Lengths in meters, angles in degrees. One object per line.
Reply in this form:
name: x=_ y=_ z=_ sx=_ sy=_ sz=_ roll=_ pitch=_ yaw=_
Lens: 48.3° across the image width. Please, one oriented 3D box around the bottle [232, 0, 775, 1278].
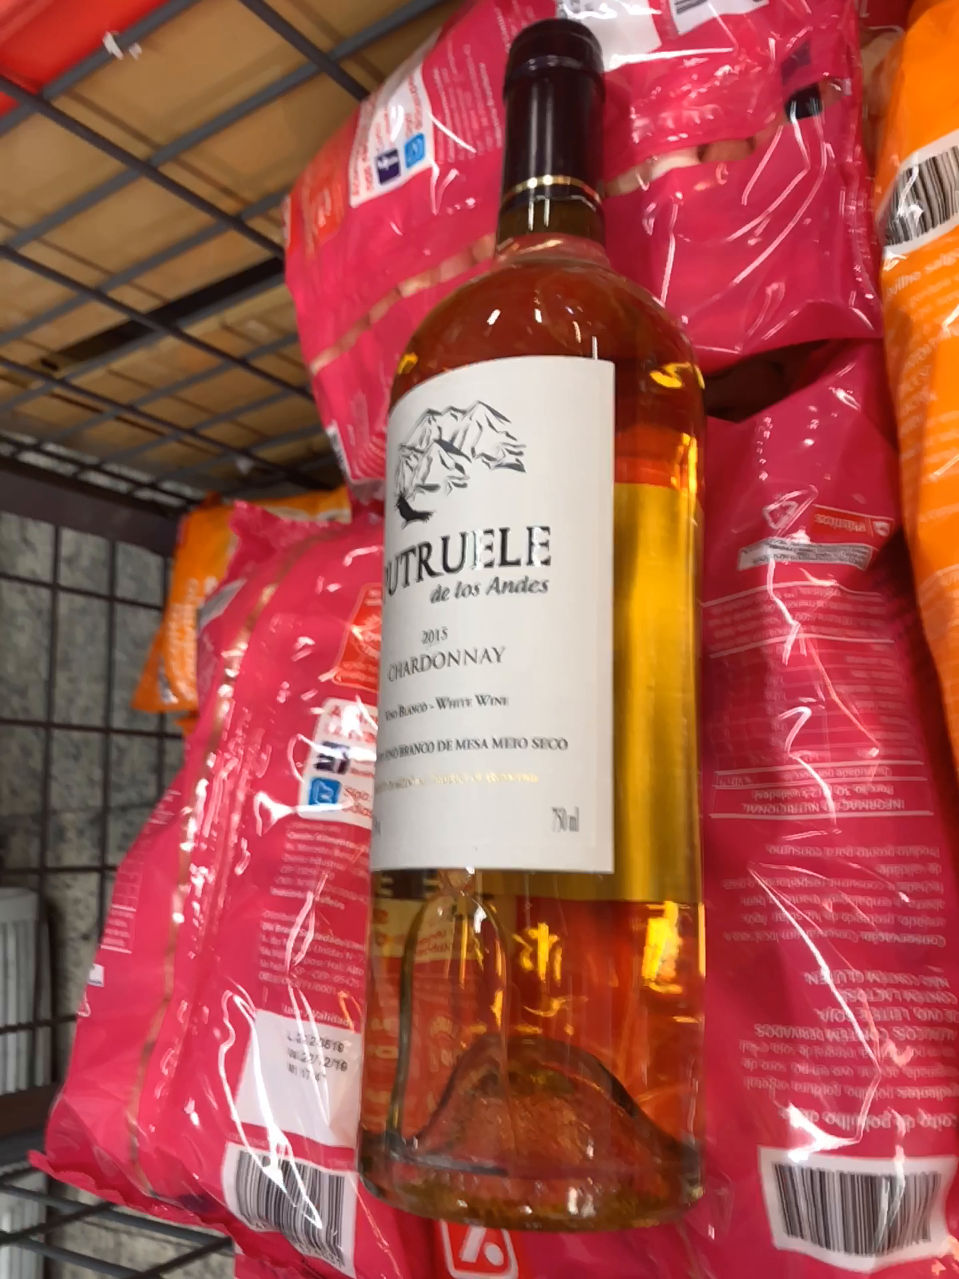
bottle: x=0.013 y=-0.030 z=0.251 sx=0.080 sy=0.070 sz=0.300 roll=-9 pitch=69 yaw=33
